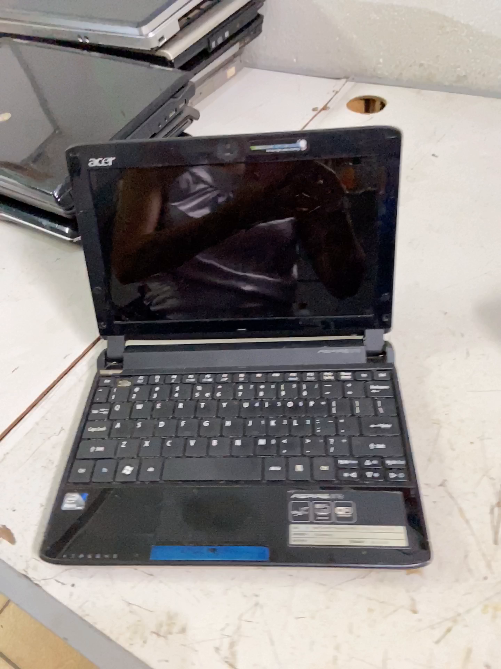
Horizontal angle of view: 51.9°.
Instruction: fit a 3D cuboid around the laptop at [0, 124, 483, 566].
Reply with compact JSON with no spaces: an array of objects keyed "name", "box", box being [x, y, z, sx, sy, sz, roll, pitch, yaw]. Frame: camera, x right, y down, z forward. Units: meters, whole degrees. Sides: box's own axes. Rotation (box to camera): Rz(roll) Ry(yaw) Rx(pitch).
[{"name":"laptop","box":[-0.017,-0.002,0.359,0.252,0.144,0.261,-2,49,6]}]
